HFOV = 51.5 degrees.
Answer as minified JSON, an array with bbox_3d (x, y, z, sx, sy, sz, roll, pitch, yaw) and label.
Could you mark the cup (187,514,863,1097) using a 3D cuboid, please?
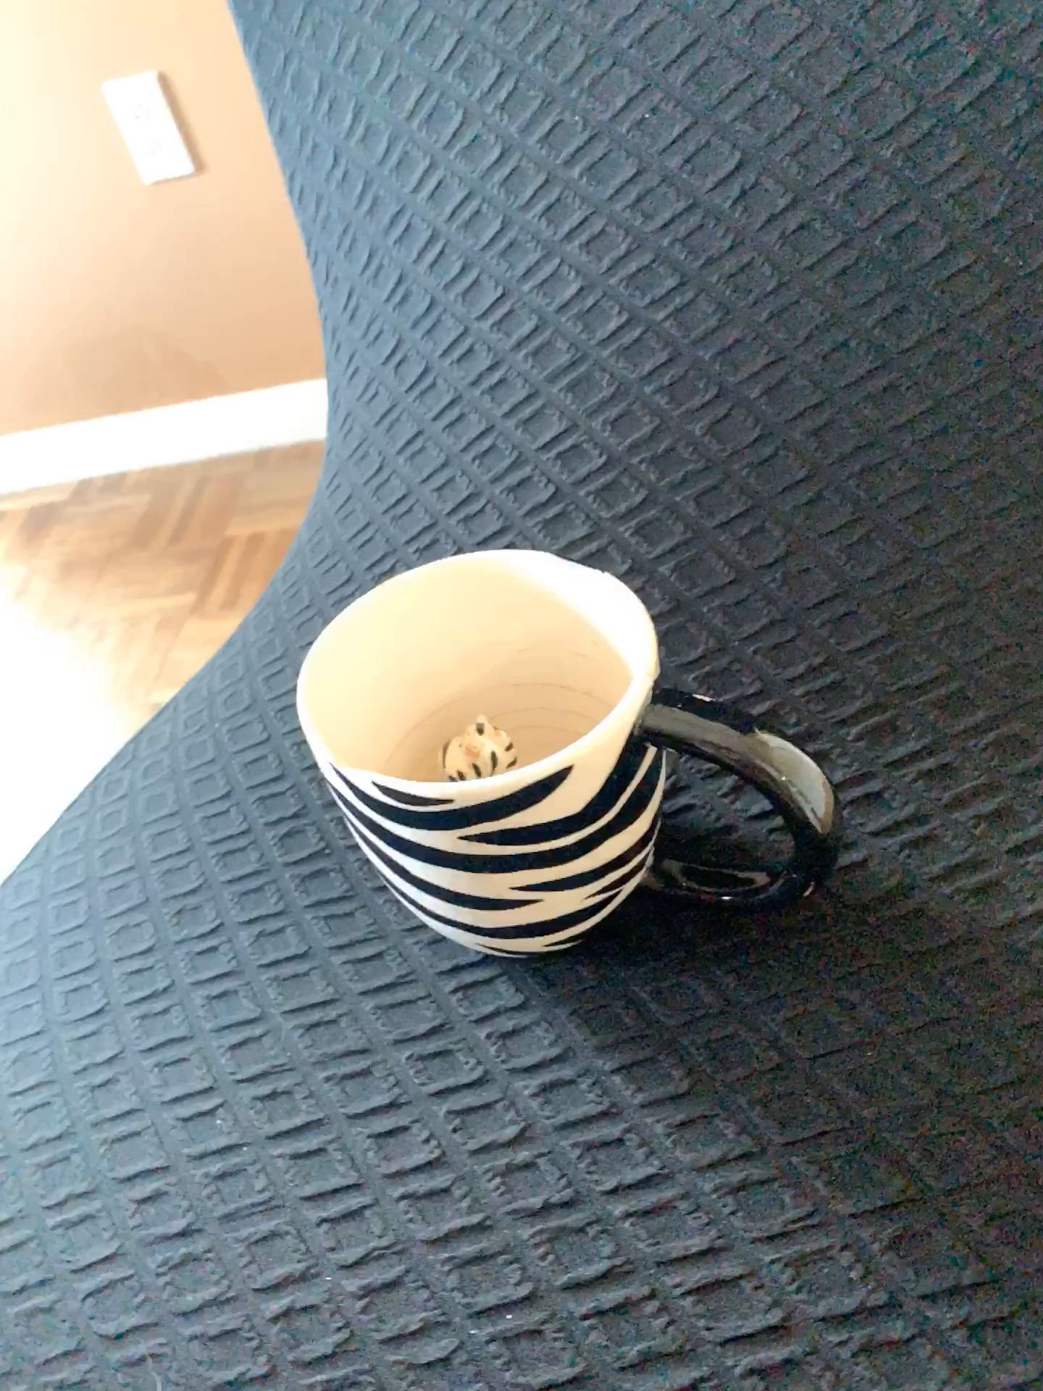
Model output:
[{"bbox_3d":[0.006,0.022,0.285,0.140,0.090,0.080,15,53,31],"label":"cup"}]
